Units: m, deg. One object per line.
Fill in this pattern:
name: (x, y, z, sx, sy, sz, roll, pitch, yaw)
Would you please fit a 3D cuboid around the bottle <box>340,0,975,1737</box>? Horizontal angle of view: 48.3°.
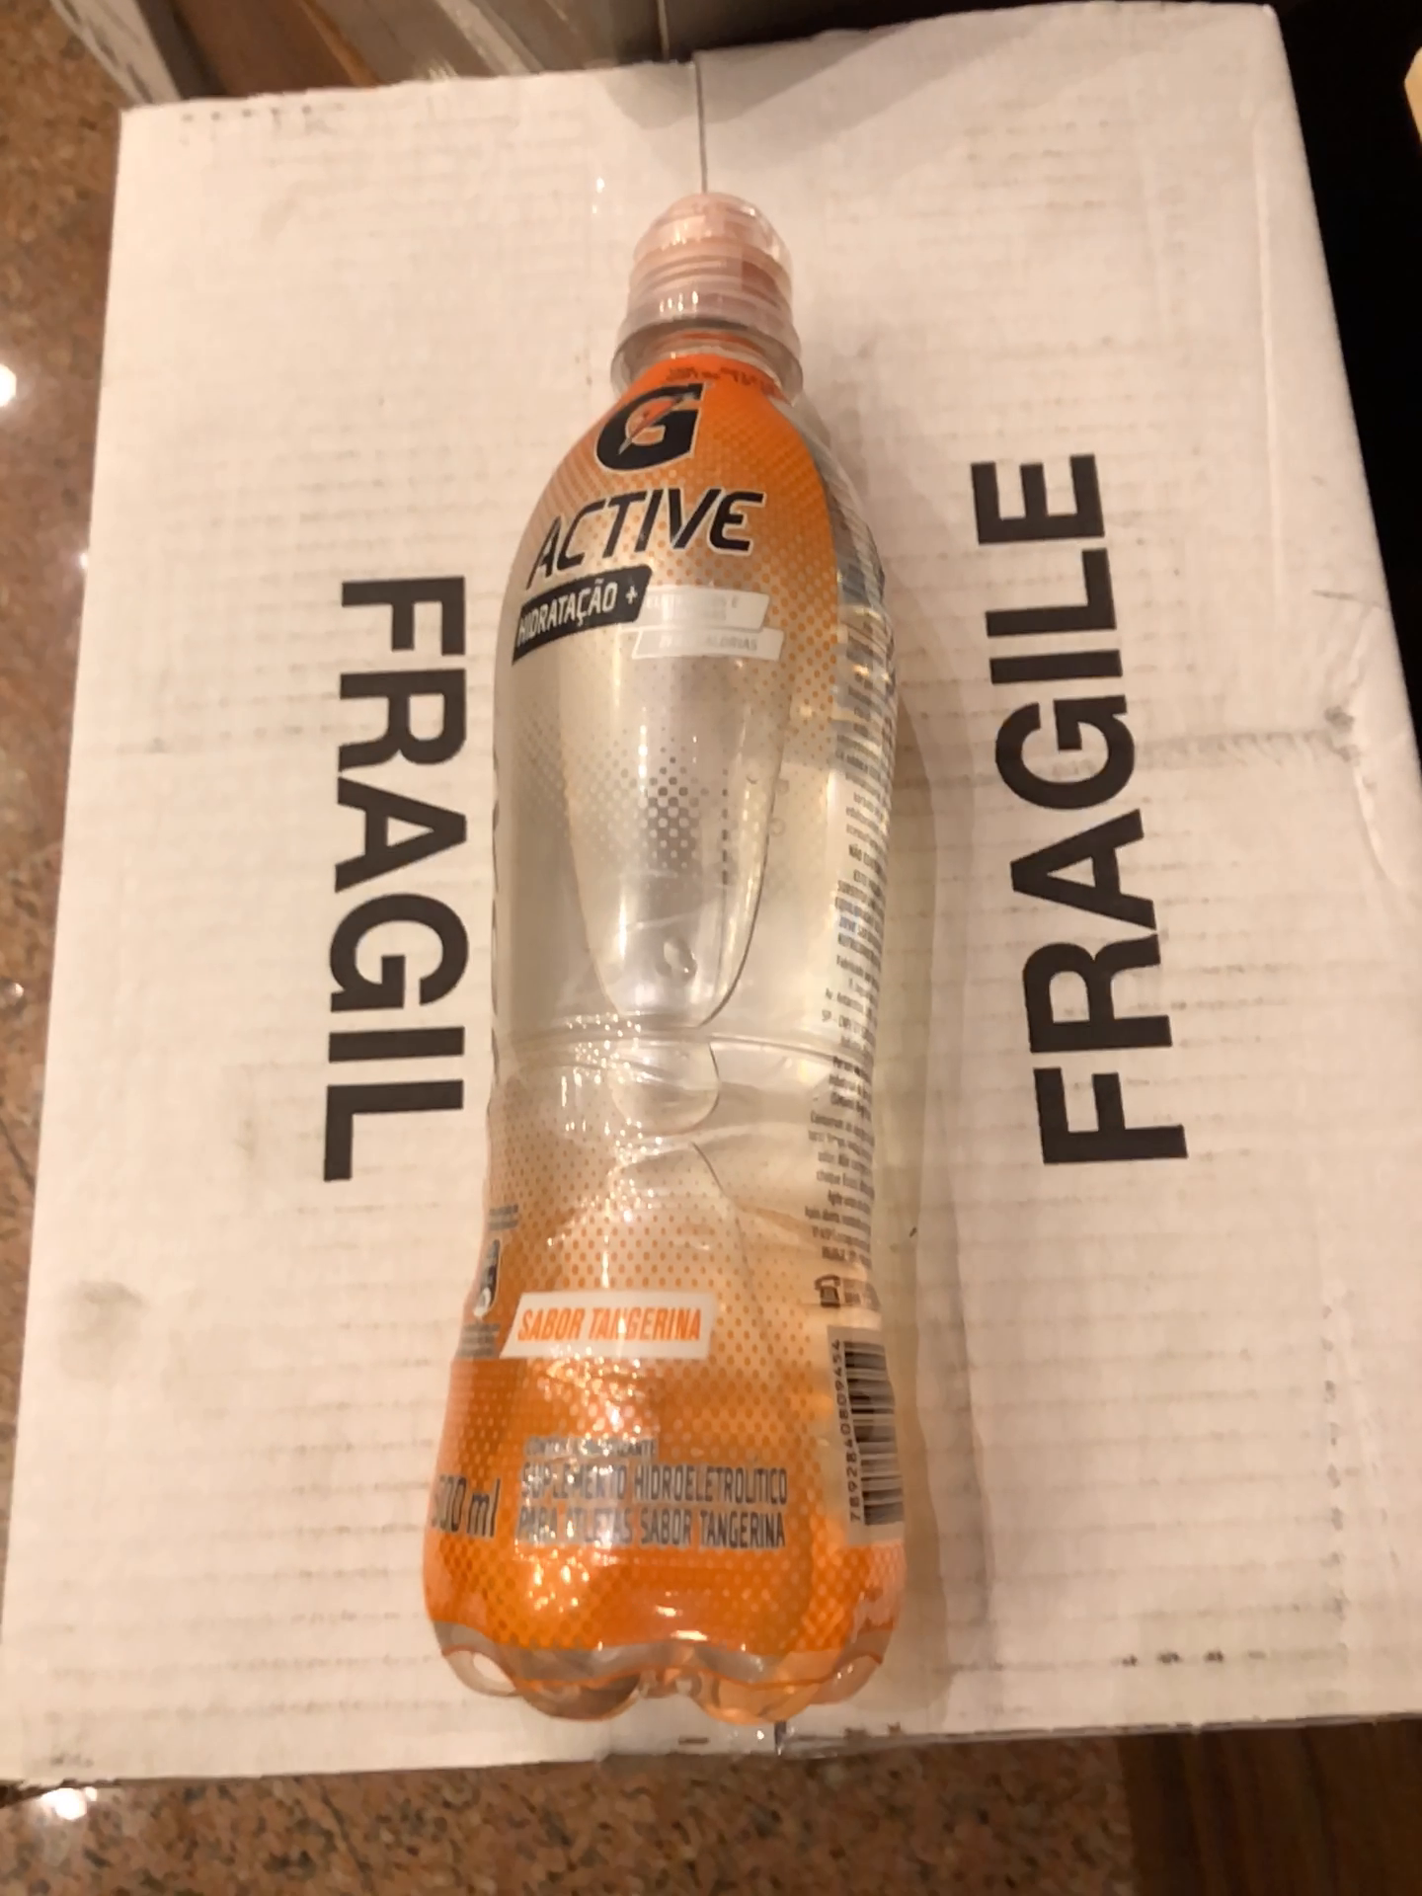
bottle: (0.000, -0.026, 0.239, 0.070, 0.060, 0.250, 1, 73, 4)
